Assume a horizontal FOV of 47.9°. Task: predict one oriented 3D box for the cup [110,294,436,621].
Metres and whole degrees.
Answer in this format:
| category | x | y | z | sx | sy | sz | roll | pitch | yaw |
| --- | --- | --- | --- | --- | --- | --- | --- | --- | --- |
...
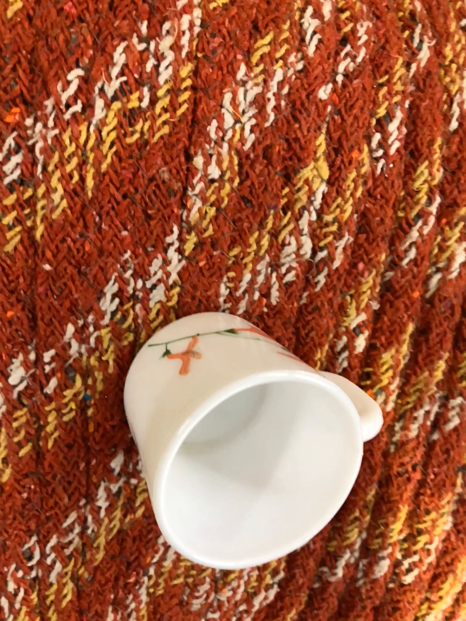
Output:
| category | x | y | z | sx | sy | sz | roll | pitch | yaw |
| --- | --- | --- | --- | --- | --- | --- | --- | --- | --- |
| cup | 0.007 | 0.039 | 0.168 | 0.080 | 0.060 | 0.070 | -4 | 108 | -21 |
